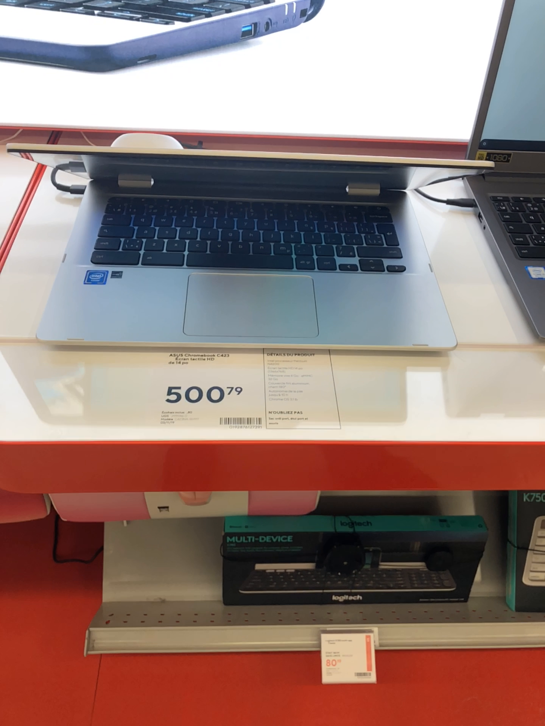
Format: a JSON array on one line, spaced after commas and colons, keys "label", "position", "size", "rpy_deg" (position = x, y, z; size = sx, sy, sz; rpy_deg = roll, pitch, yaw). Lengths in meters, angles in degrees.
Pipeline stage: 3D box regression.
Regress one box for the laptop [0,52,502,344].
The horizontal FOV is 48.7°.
[{"label": "laptop", "position": [-0.014, -0.138, 0.486], "size": [0.311, 0.119, 0.214], "rpy_deg": [1, 48, -4]}]
